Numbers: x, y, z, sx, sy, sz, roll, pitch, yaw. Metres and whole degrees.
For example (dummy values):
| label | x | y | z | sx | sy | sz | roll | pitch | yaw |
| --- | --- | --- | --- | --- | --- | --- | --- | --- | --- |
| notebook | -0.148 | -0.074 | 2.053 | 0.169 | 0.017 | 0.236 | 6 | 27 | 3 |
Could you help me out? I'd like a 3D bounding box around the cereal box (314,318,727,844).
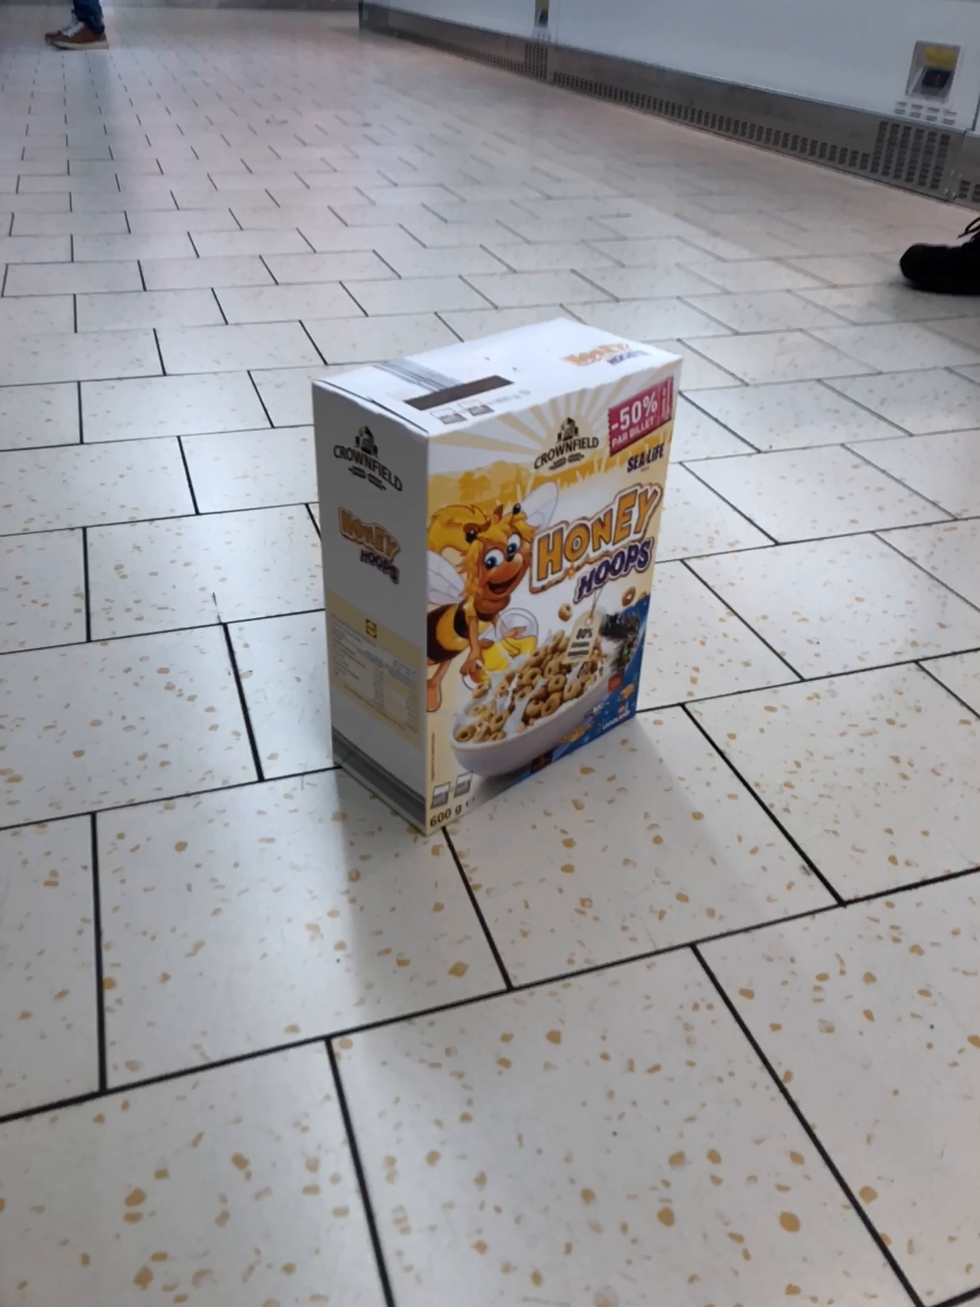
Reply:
| label | x | y | z | sx | sy | sz | roll | pitch | yaw |
| --- | --- | --- | --- | --- | --- | --- | --- | --- | --- |
| cereal box | 0.018 | -0.052 | 0.654 | 0.211 | 0.249 | 0.110 | -24 | 40 | -35 |
